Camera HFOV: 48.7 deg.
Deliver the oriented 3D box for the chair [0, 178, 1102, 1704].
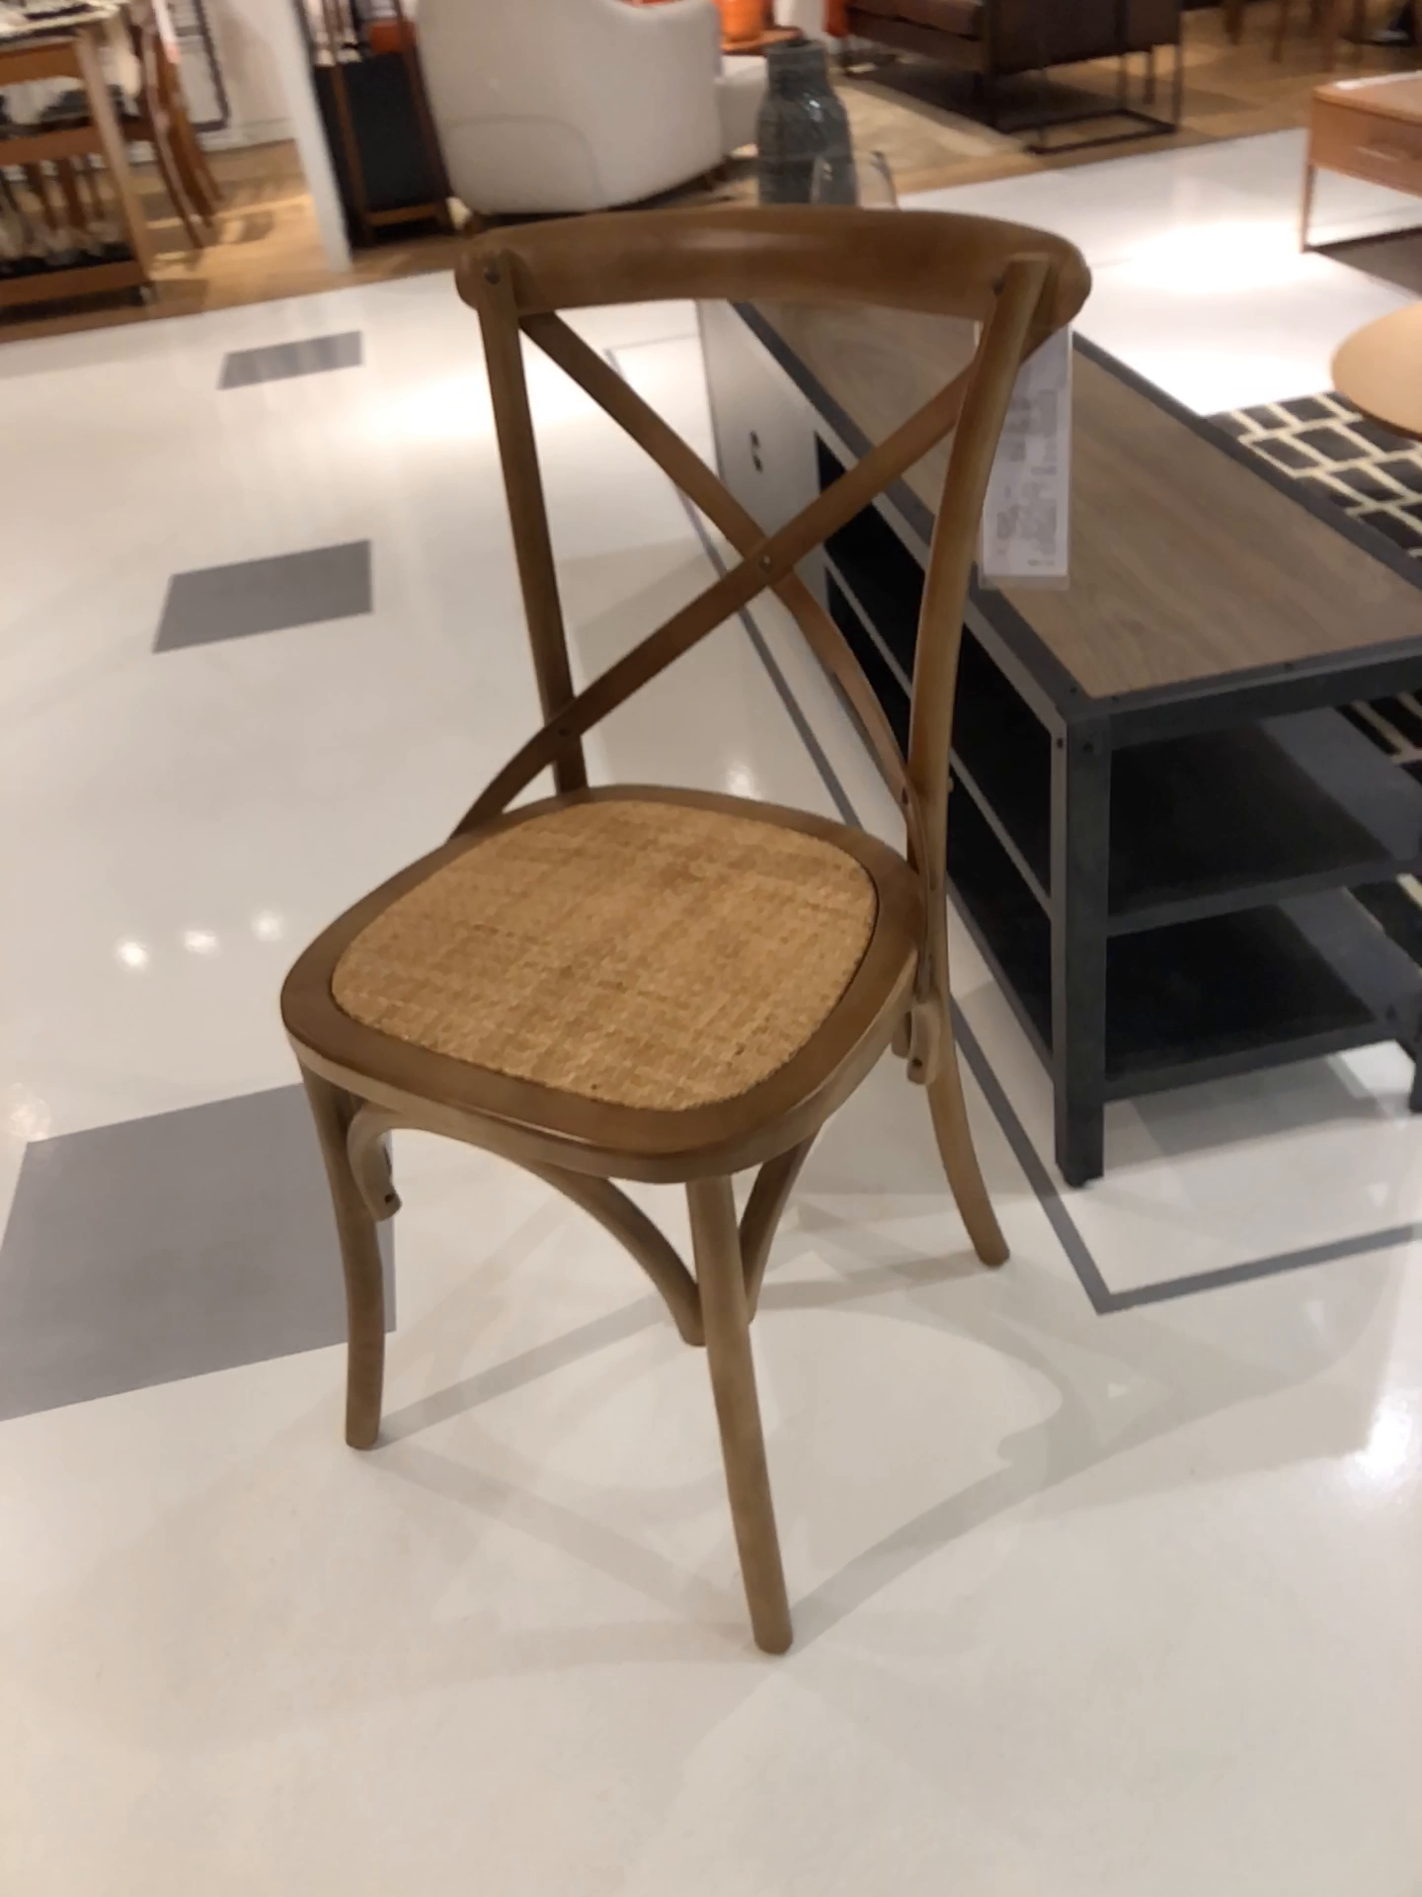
[{"bbox_3d":[-0.059,-0.032,1.166,0.501,0.863,0.573,14,41,29],"label":"chair"}]
